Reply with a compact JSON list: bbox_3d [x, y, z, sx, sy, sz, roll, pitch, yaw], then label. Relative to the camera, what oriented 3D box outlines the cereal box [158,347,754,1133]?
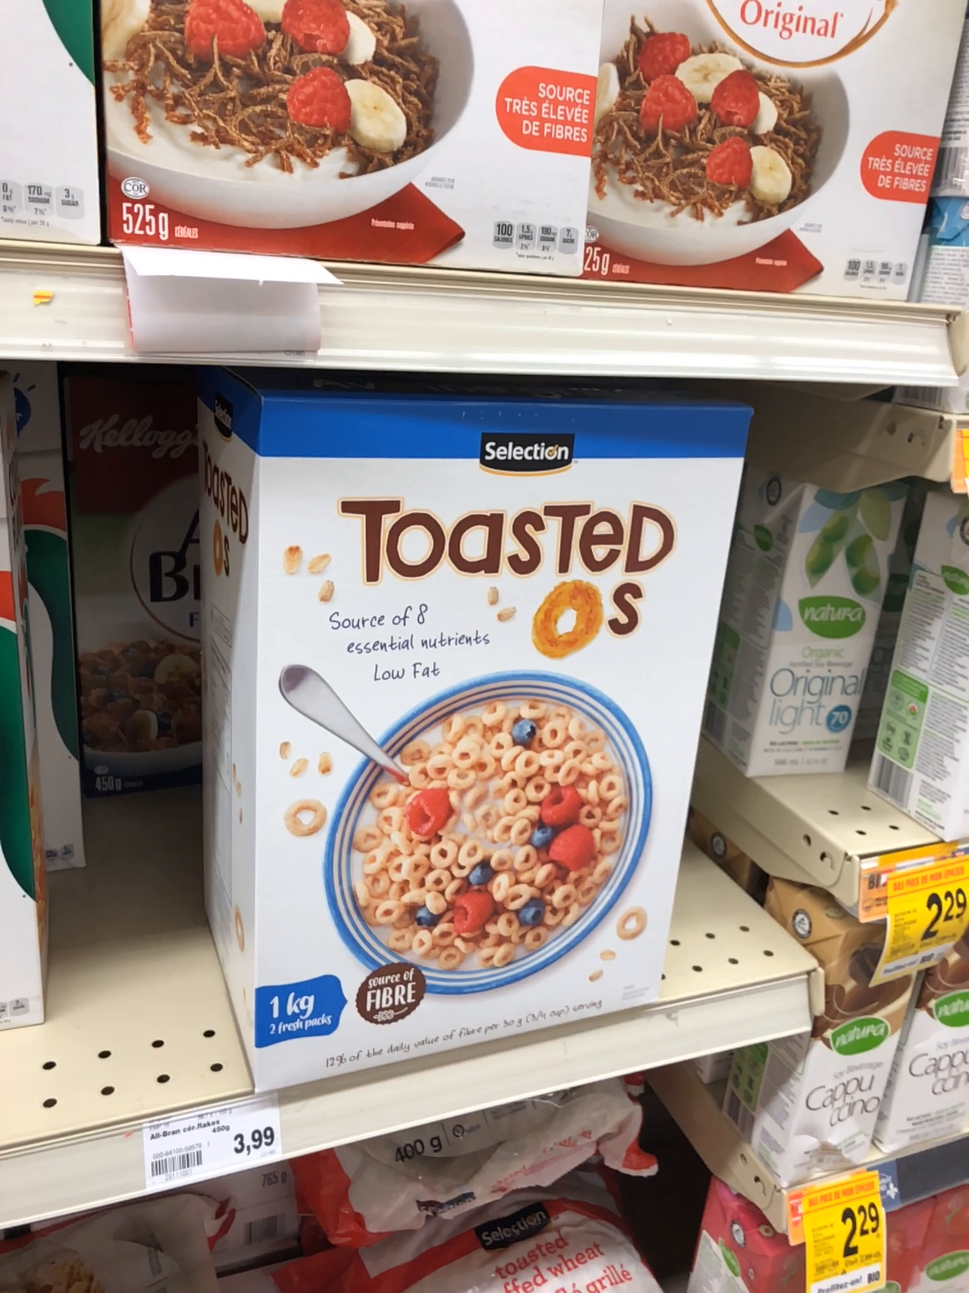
[{"bbox_3d":[-0.030,0.030,0.559,0.240,0.338,0.161,-4,20,-23],"label":"cereal box"}]
